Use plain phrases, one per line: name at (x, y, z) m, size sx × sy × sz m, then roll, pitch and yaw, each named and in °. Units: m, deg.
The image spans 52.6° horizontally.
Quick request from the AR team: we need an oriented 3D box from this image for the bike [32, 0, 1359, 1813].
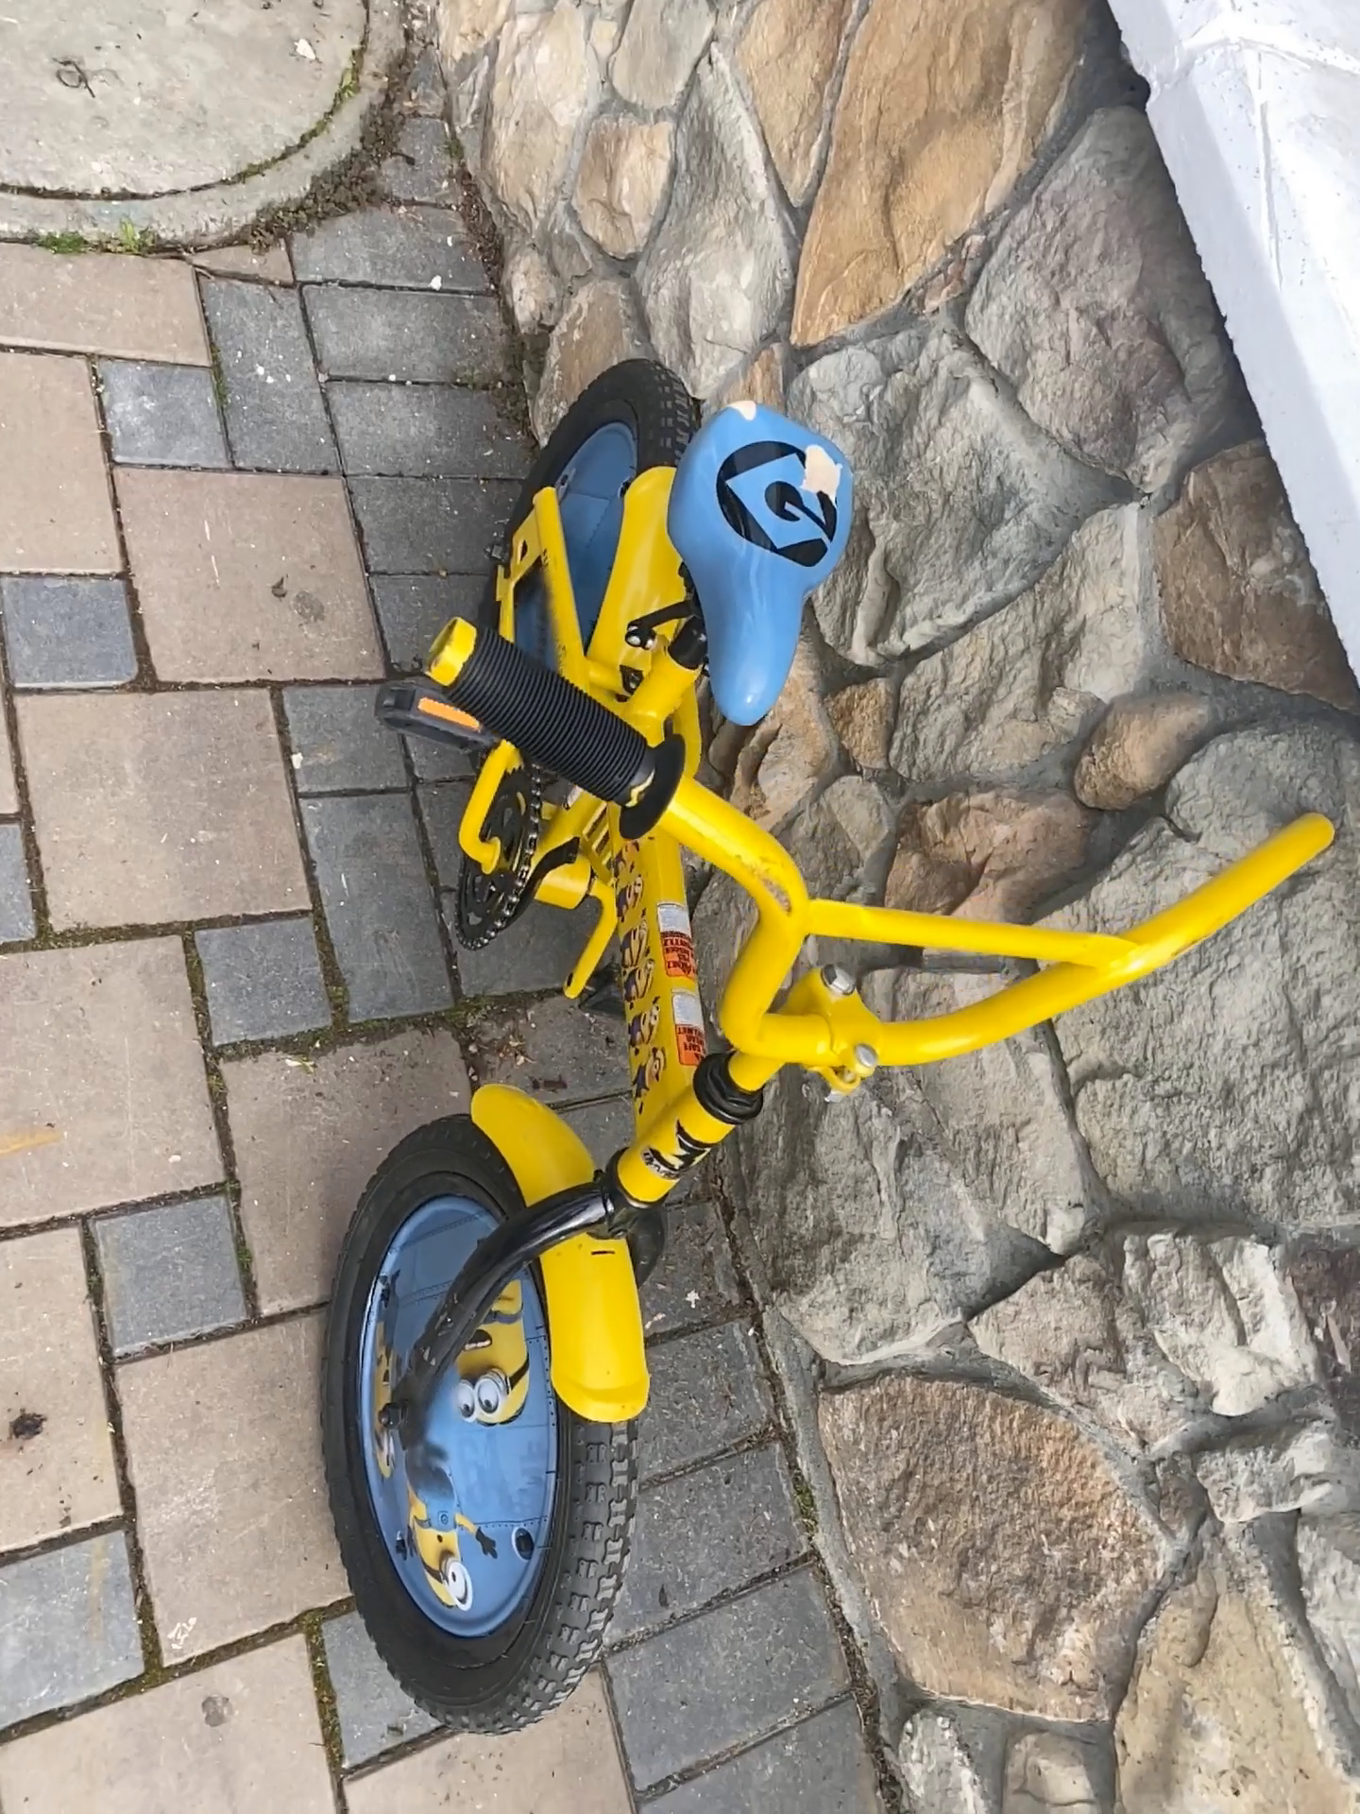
bike at (0.024, -0.031, 0.943) m, size 0.620 × 0.736 × 1.088 m, roll 13°, pitch 63°, yaw -25°
